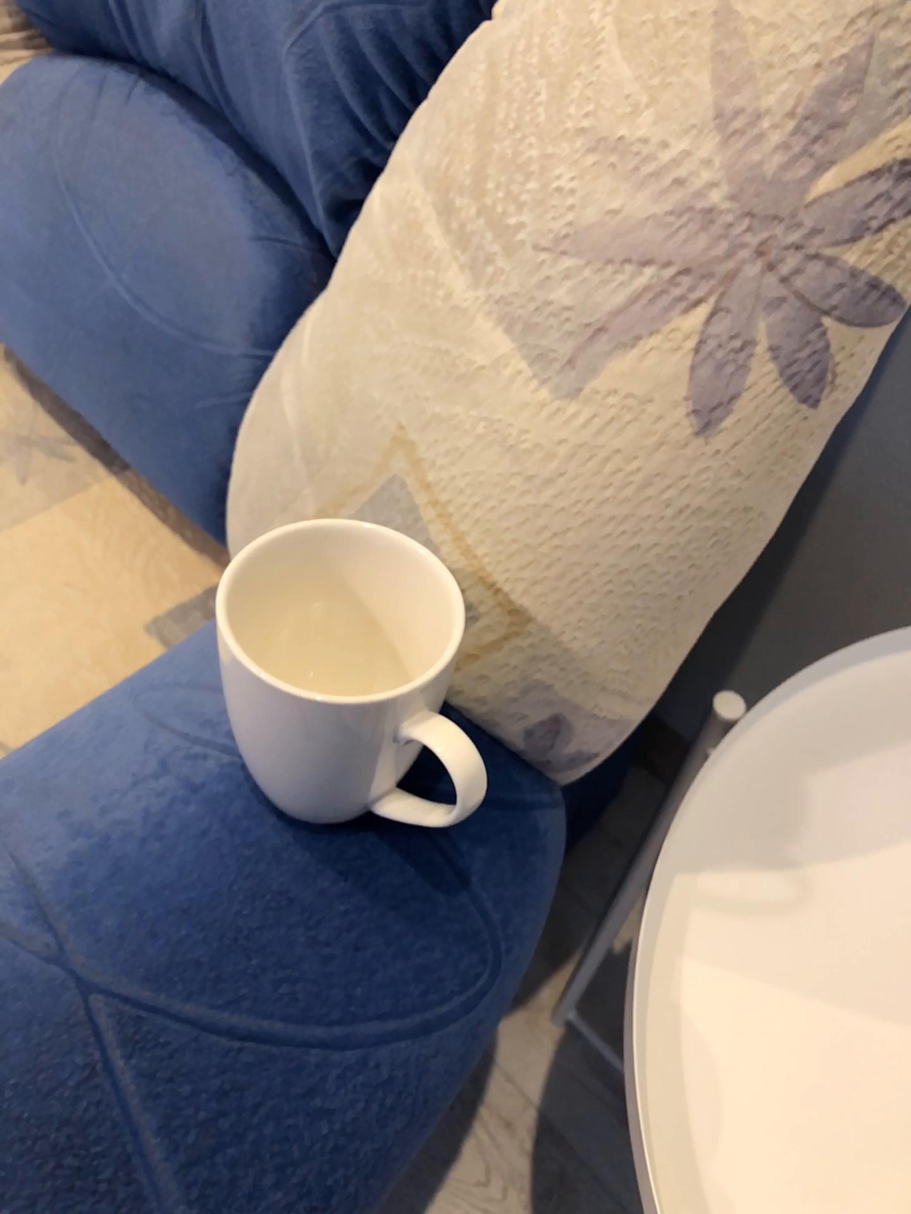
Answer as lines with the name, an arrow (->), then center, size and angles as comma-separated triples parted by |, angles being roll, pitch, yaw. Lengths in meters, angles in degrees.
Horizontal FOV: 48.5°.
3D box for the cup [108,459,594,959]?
cup -> -0.032, 0.029, 0.314 | 0.110, 0.079, 0.080 | 33, 54, 19
